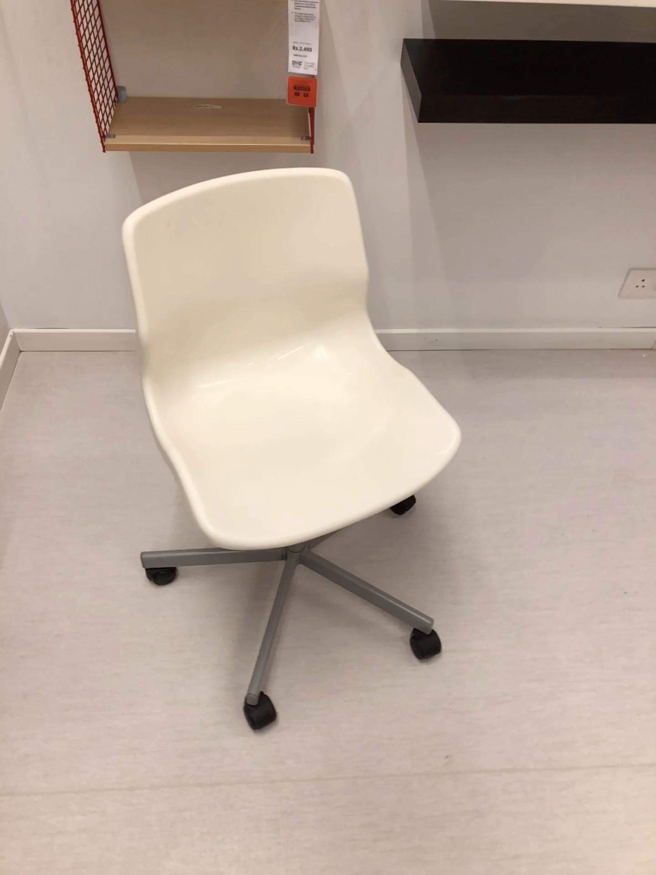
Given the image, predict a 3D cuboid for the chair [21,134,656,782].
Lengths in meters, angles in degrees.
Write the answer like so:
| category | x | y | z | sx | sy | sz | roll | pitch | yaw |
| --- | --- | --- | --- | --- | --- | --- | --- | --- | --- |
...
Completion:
| category | x | y | z | sx | sy | sz | roll | pitch | yaw |
| --- | --- | --- | --- | --- | --- | --- | --- | --- | --- |
| chair | -0.030 | 0.023 | 1.191 | 0.621 | 0.686 | 0.623 | -20 | 53 | -19 |
